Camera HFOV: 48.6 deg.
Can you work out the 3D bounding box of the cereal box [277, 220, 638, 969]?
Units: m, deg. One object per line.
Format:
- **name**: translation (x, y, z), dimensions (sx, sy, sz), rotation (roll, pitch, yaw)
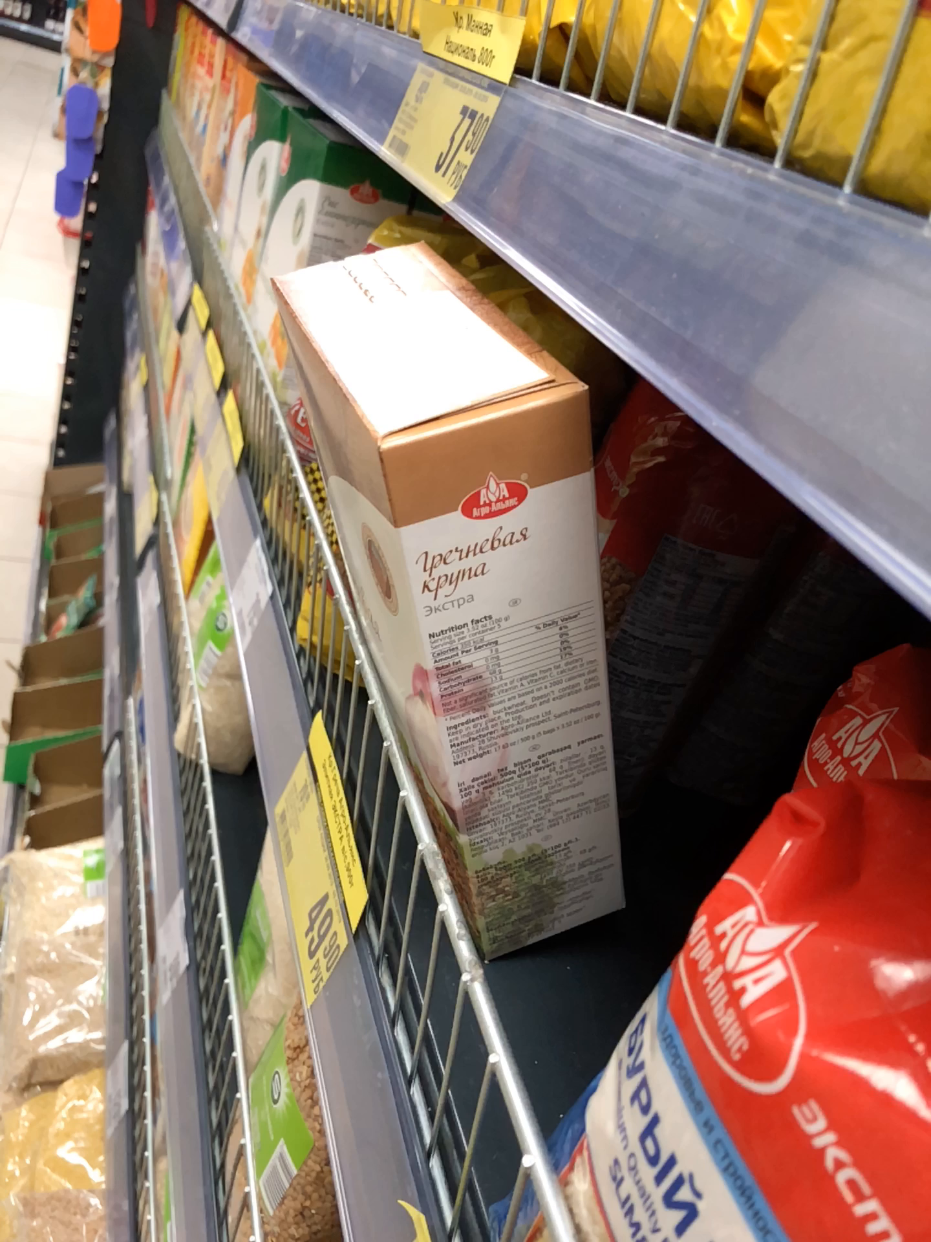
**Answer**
- **cereal box**: translation (-0.001, -0.009, 0.341), dimensions (0.050, 0.199, 0.141), rotation (-18, 37, -11)
